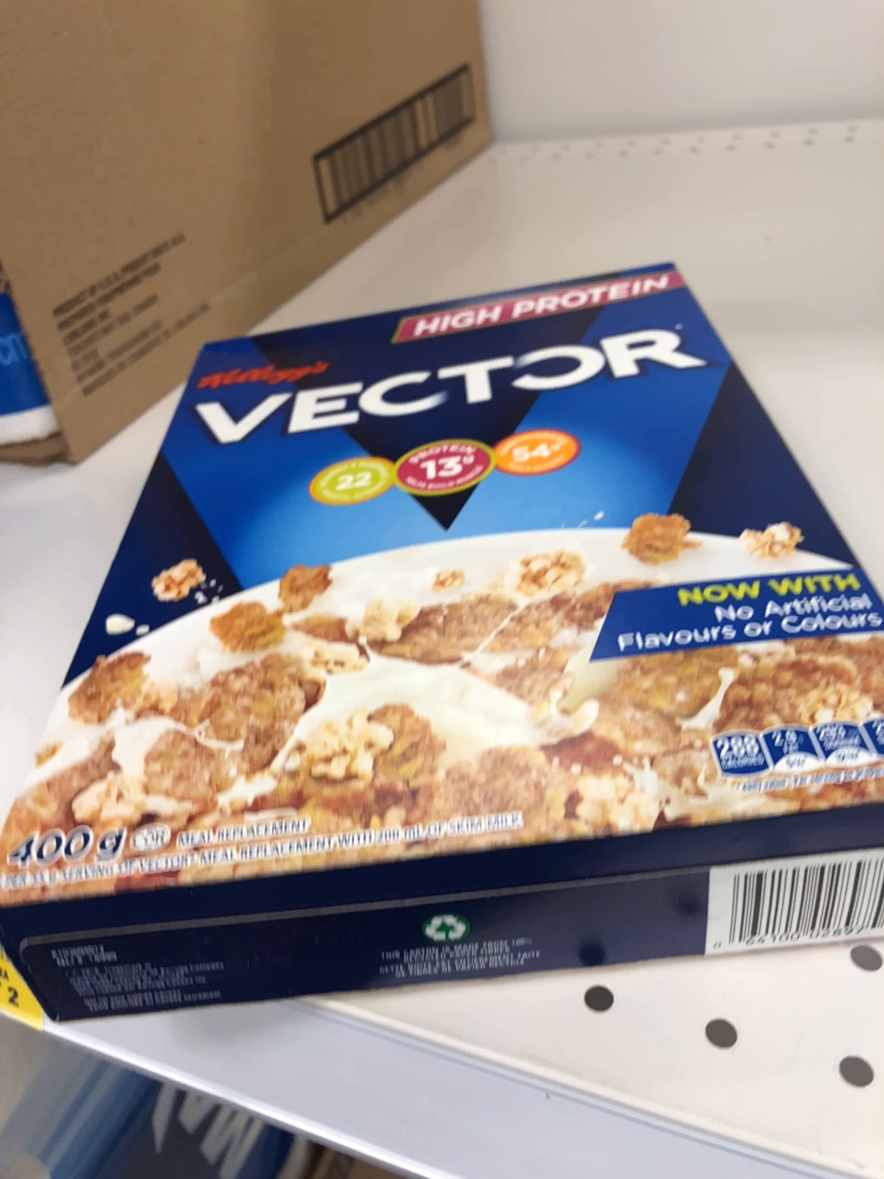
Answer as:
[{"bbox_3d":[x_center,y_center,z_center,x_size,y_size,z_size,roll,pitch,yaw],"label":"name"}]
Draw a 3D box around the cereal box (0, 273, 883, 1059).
[{"bbox_3d":[0.002,-0.015,0.316,0.210,0.050,0.291,-8,35,3],"label":"cereal box"}]
